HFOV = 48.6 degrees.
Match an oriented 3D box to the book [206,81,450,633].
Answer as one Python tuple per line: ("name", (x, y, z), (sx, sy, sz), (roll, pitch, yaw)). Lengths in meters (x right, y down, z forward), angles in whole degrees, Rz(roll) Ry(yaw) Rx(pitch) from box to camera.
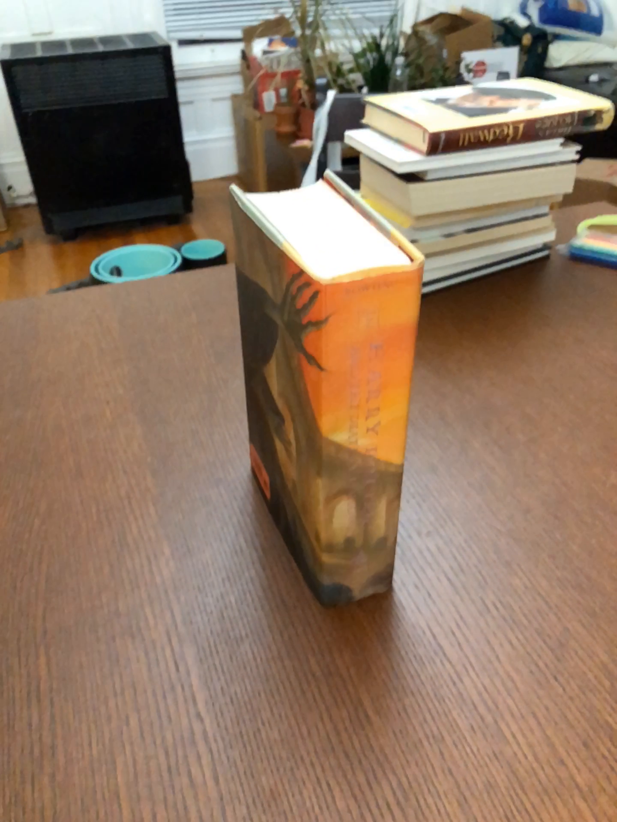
("book", (0.000, -0.039, 0.460), (0.070, 0.298, 0.211), (-11, 36, -14))
